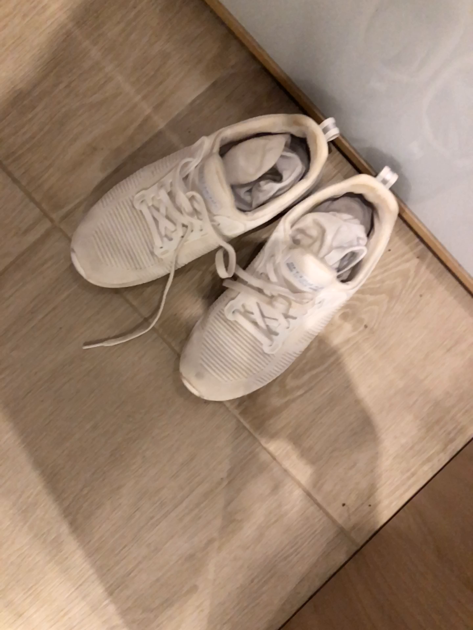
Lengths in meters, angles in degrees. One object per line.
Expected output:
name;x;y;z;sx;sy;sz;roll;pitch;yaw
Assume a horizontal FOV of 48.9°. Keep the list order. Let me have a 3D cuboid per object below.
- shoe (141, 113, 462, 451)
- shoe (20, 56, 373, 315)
shoe;0.054;-0.028;0.485;0.110;0.110;0.280;42;86;-1
shoe;-0.033;-0.109;0.485;0.270;0.110;0.110;-26;89;-4
